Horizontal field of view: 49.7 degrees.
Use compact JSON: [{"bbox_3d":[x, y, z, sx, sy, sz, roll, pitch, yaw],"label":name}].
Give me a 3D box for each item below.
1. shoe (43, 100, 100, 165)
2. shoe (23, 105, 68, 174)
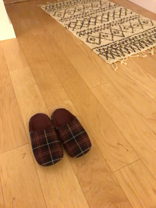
[{"bbox_3d":[-0.038,0.099,0.690,0.120,0.030,0.271,-22,51,-18],"label":"shoe"},{"bbox_3d":[-0.138,0.123,0.672,0.120,0.030,0.272,-15,49,-13],"label":"shoe"}]
